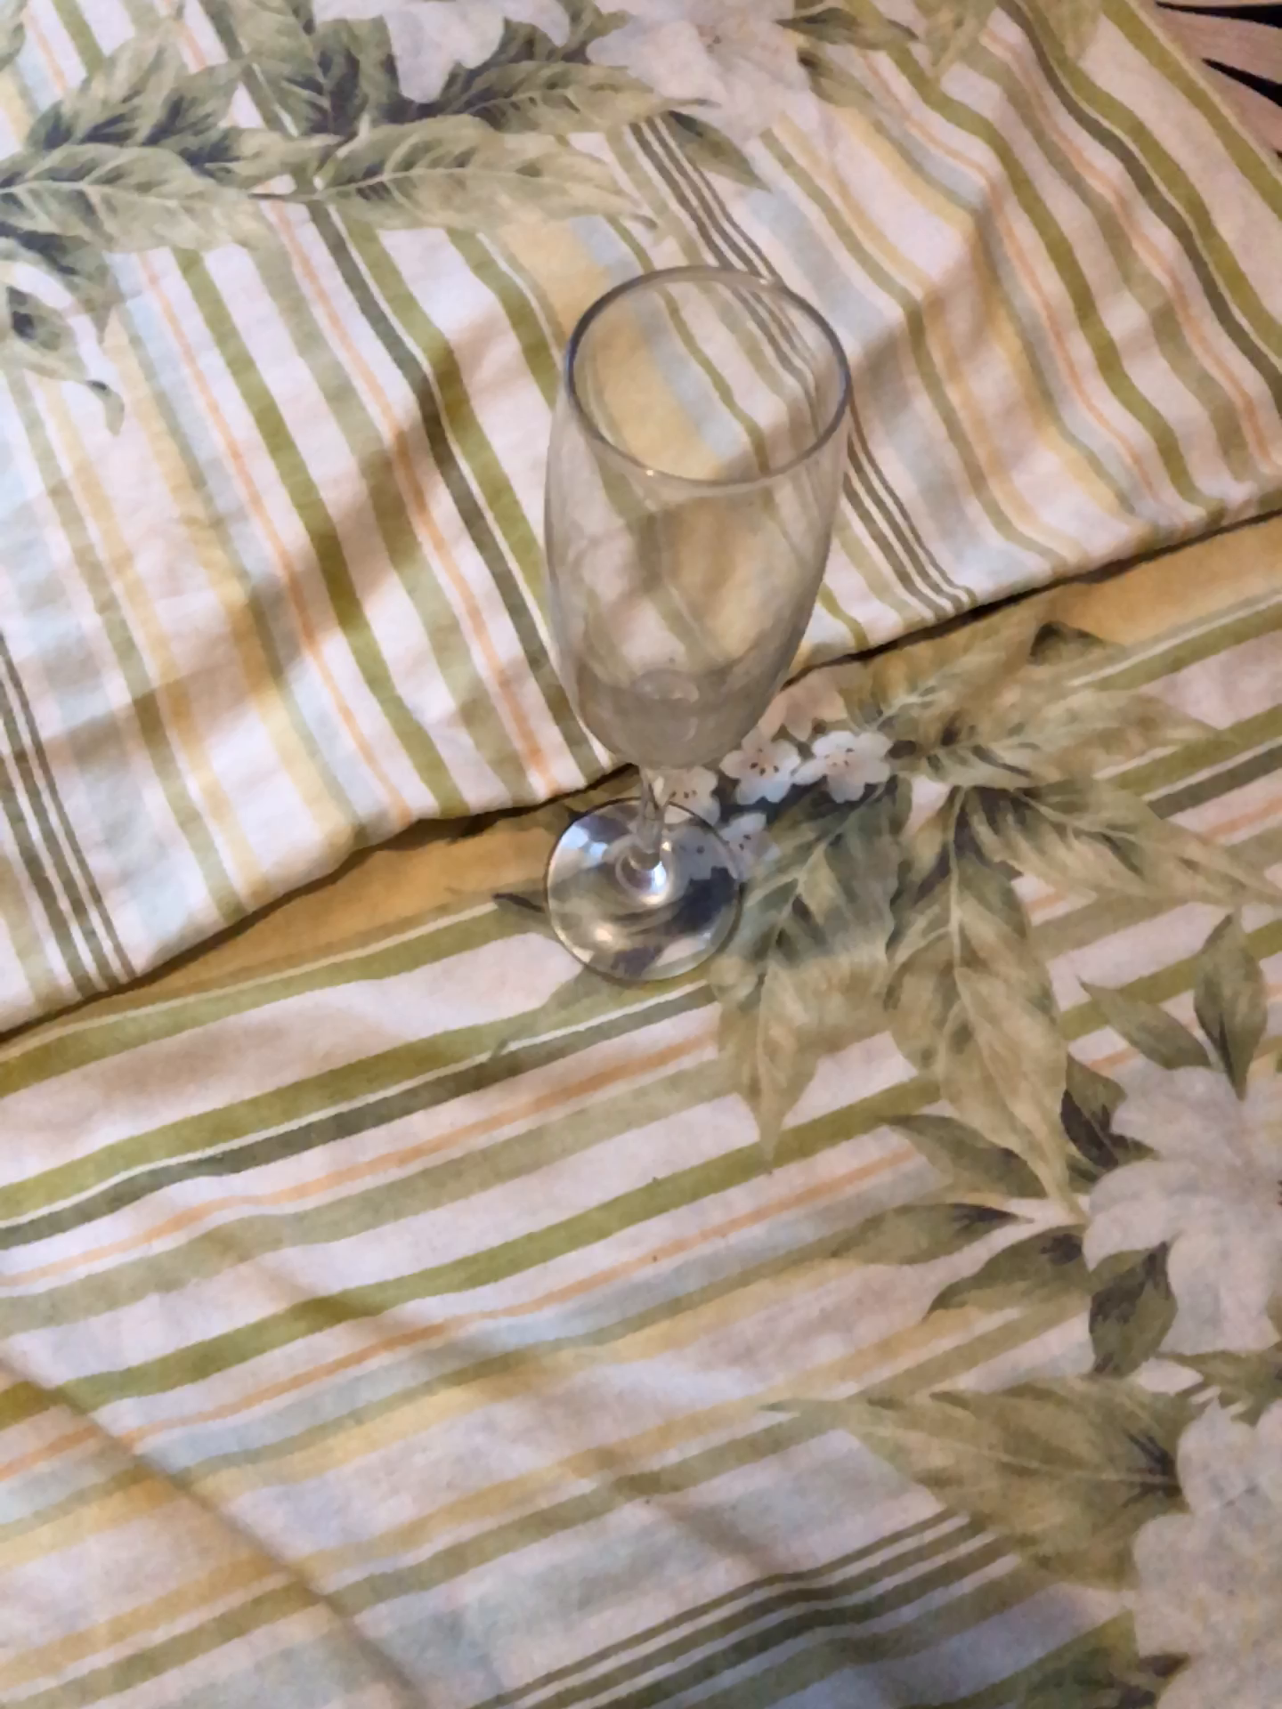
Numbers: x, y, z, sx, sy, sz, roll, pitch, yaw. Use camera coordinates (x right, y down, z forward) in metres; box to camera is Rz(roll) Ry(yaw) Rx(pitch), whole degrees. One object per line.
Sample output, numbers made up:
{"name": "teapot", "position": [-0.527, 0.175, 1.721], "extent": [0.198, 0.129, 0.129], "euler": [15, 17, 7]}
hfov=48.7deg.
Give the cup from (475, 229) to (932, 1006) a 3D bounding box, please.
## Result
{"name": "cup", "position": [0.005, -0.036, 0.351], "extent": [0.071, 0.218, 0.082], "euler": [-5, 68, -4]}
